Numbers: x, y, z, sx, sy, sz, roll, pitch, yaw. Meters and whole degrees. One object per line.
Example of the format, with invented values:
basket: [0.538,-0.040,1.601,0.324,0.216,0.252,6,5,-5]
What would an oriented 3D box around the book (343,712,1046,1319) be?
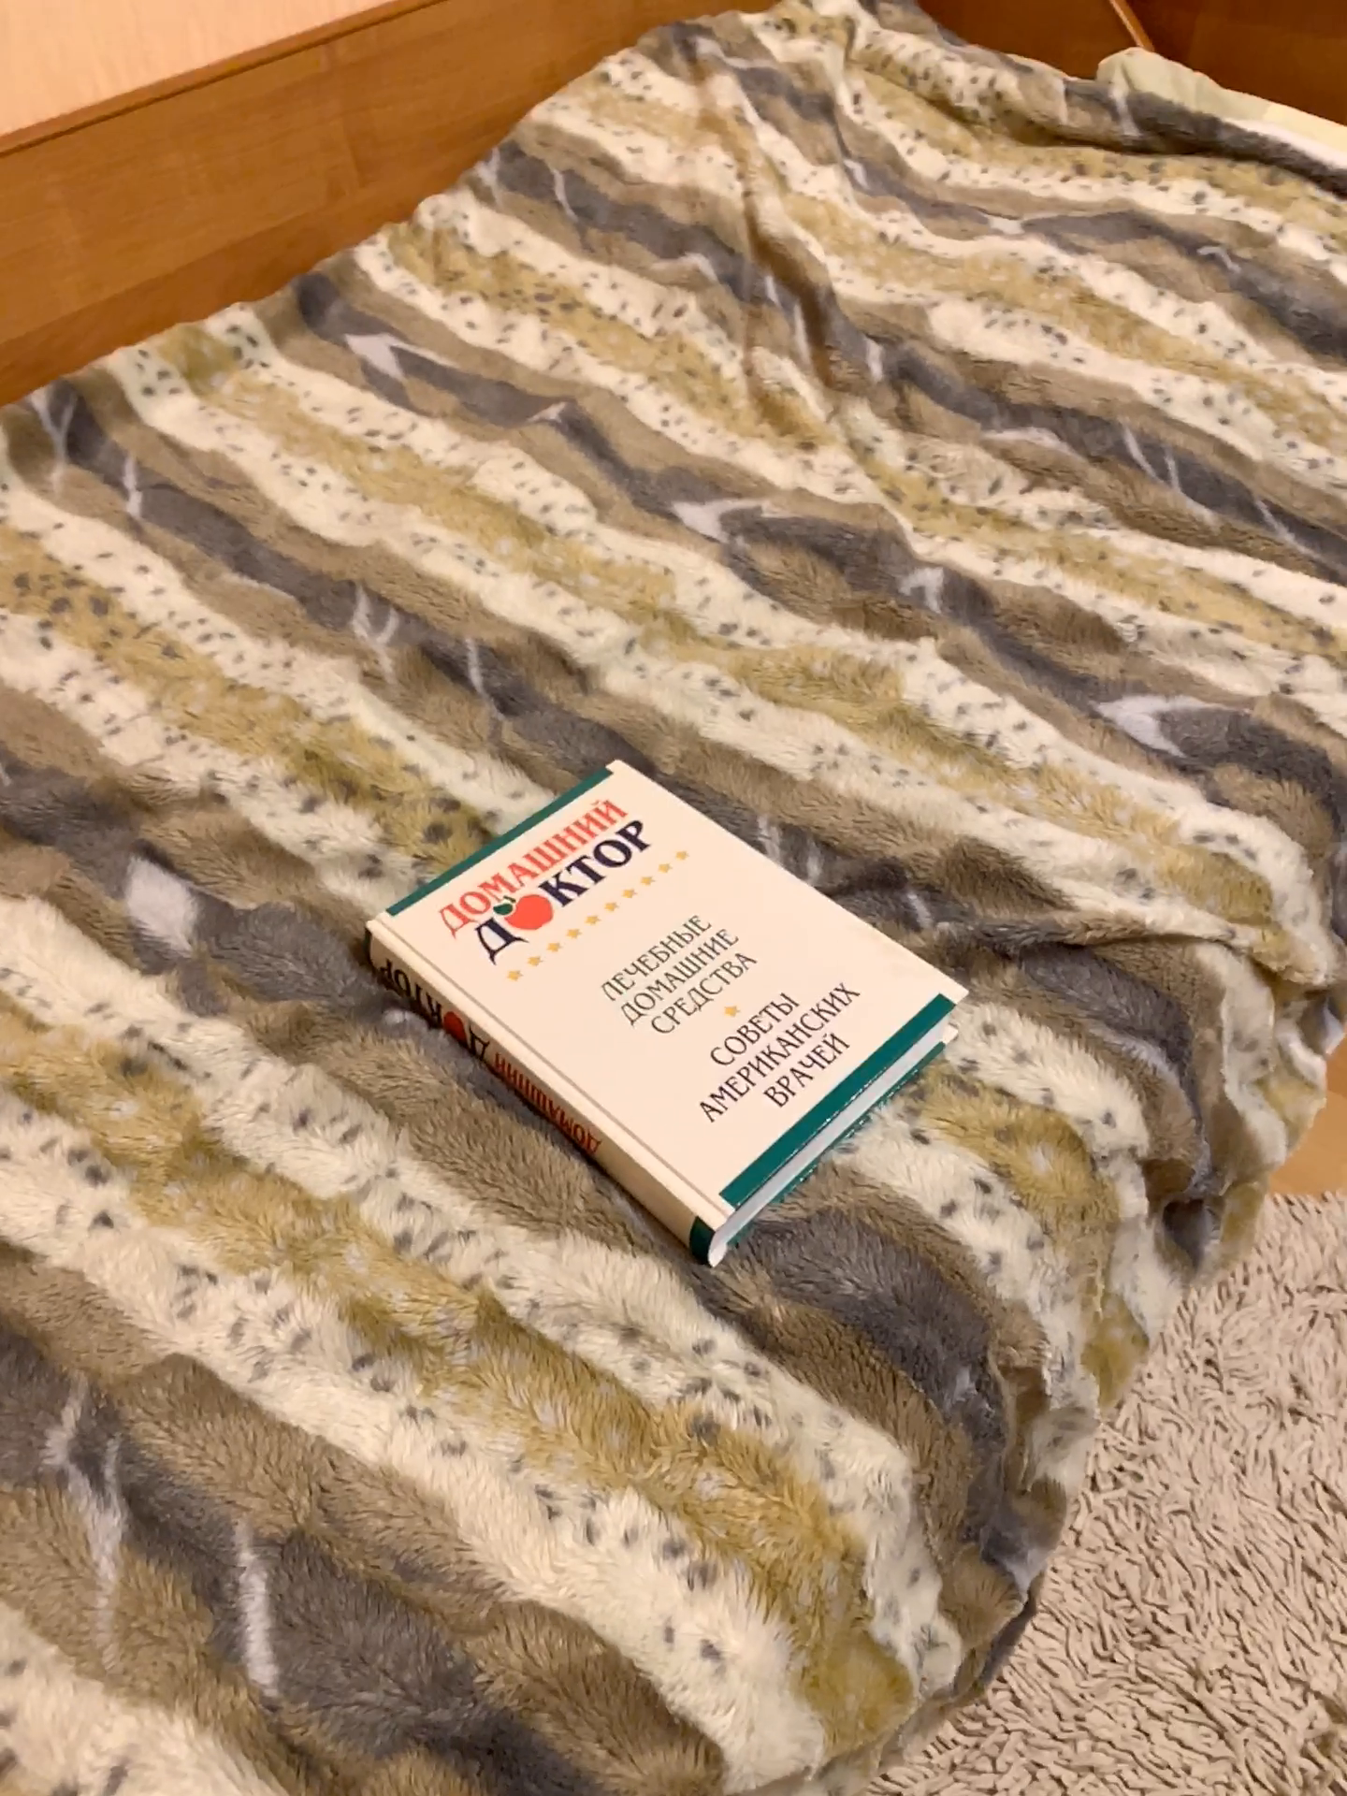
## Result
book: [0.006,0.033,0.613,0.241,0.040,0.191,37,57,28]
